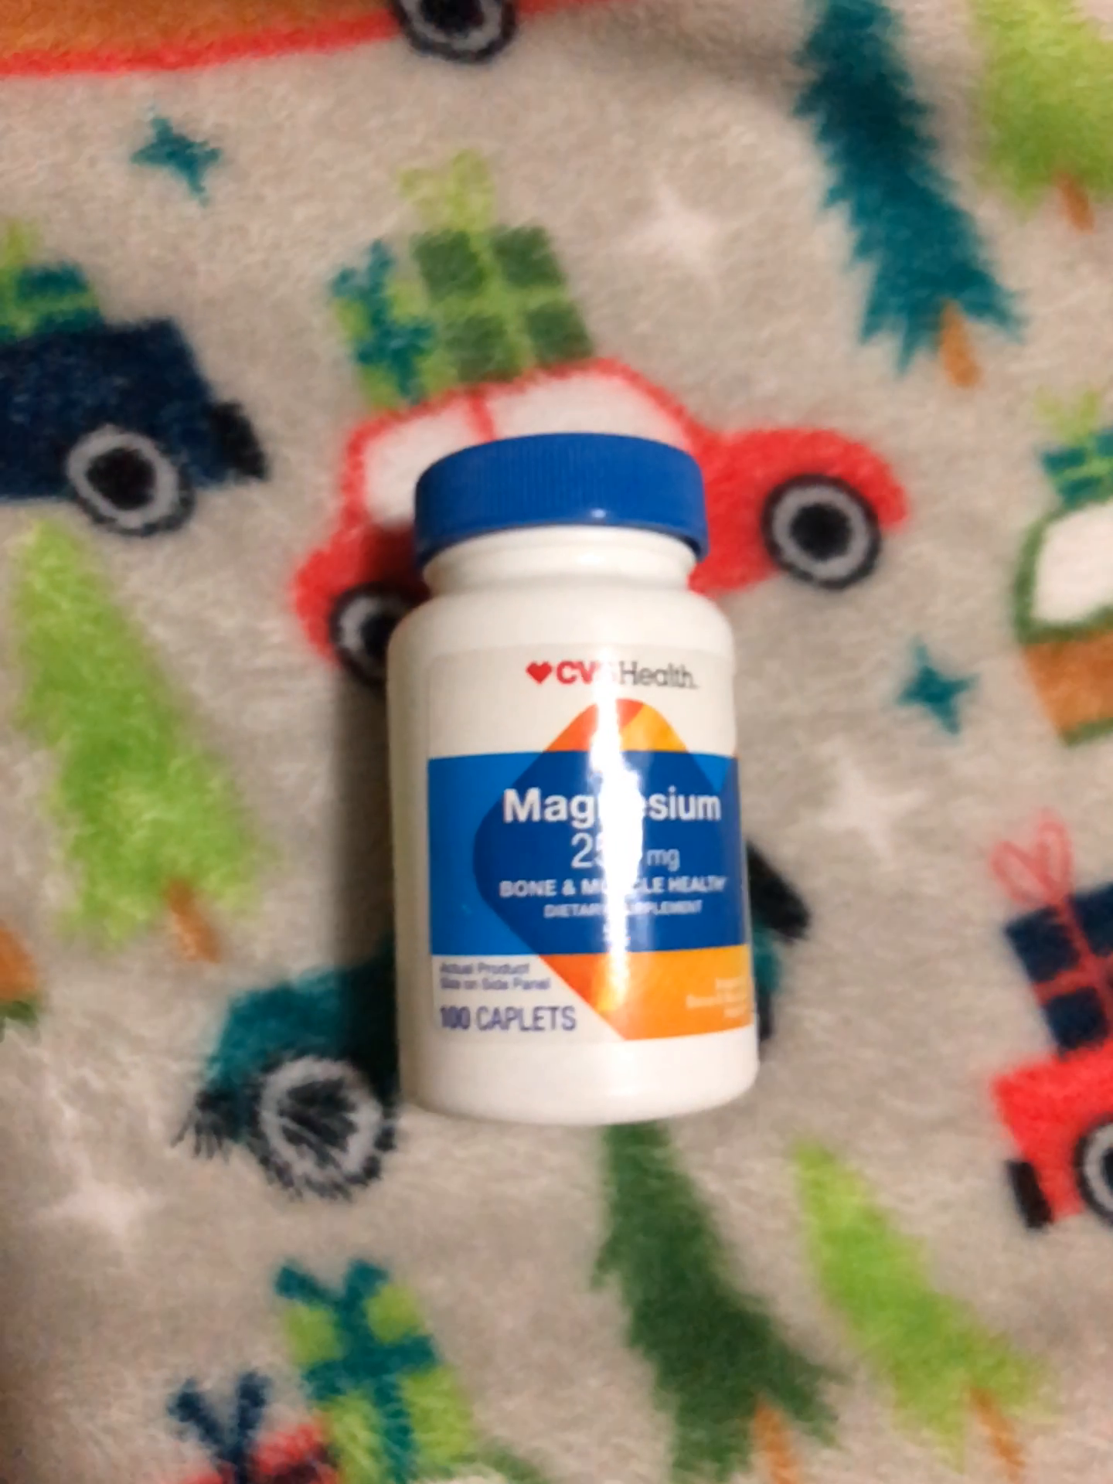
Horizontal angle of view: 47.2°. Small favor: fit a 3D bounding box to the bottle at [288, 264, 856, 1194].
[{"bbox_3d":[-0.003,-0.001,0.166,0.060,0.050,0.100,-2,84,-12],"label":"bottle"}]
